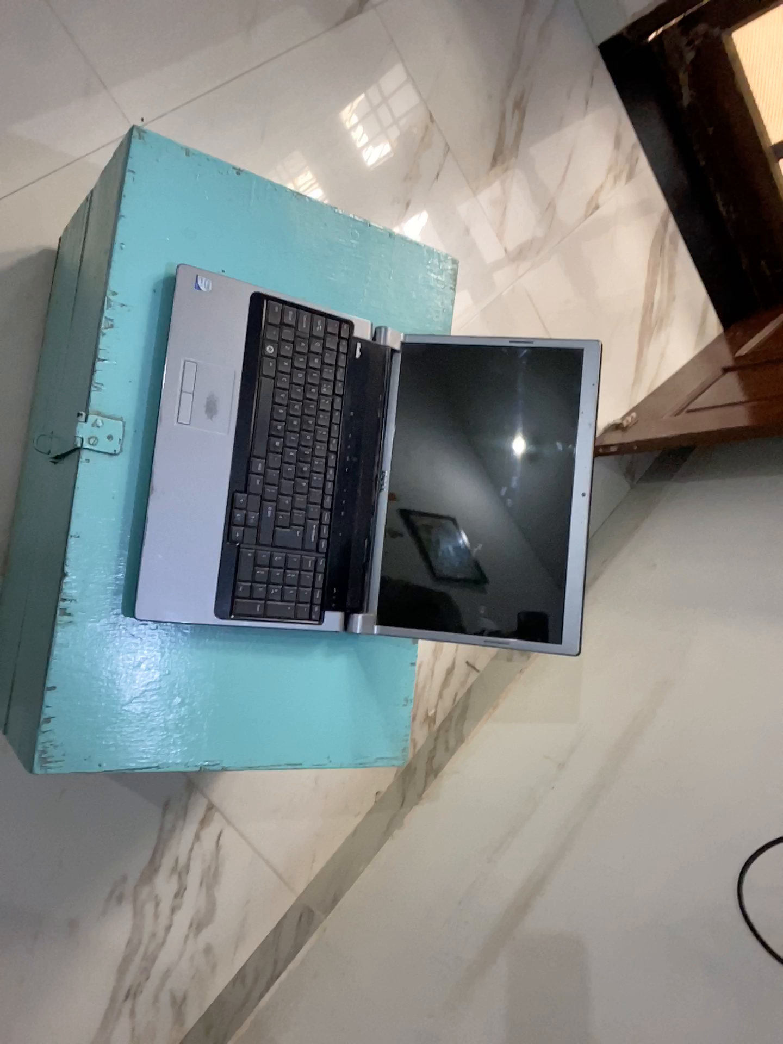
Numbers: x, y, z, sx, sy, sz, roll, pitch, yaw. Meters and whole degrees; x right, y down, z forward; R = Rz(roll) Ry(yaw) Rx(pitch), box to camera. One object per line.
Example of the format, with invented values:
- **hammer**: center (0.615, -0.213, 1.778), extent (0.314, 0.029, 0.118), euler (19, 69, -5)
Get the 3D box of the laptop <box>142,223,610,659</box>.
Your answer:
- **laptop**: center (0.004, -0.054, 0.918), extent (0.480, 0.178, 0.389), euler (8, 84, -33)
